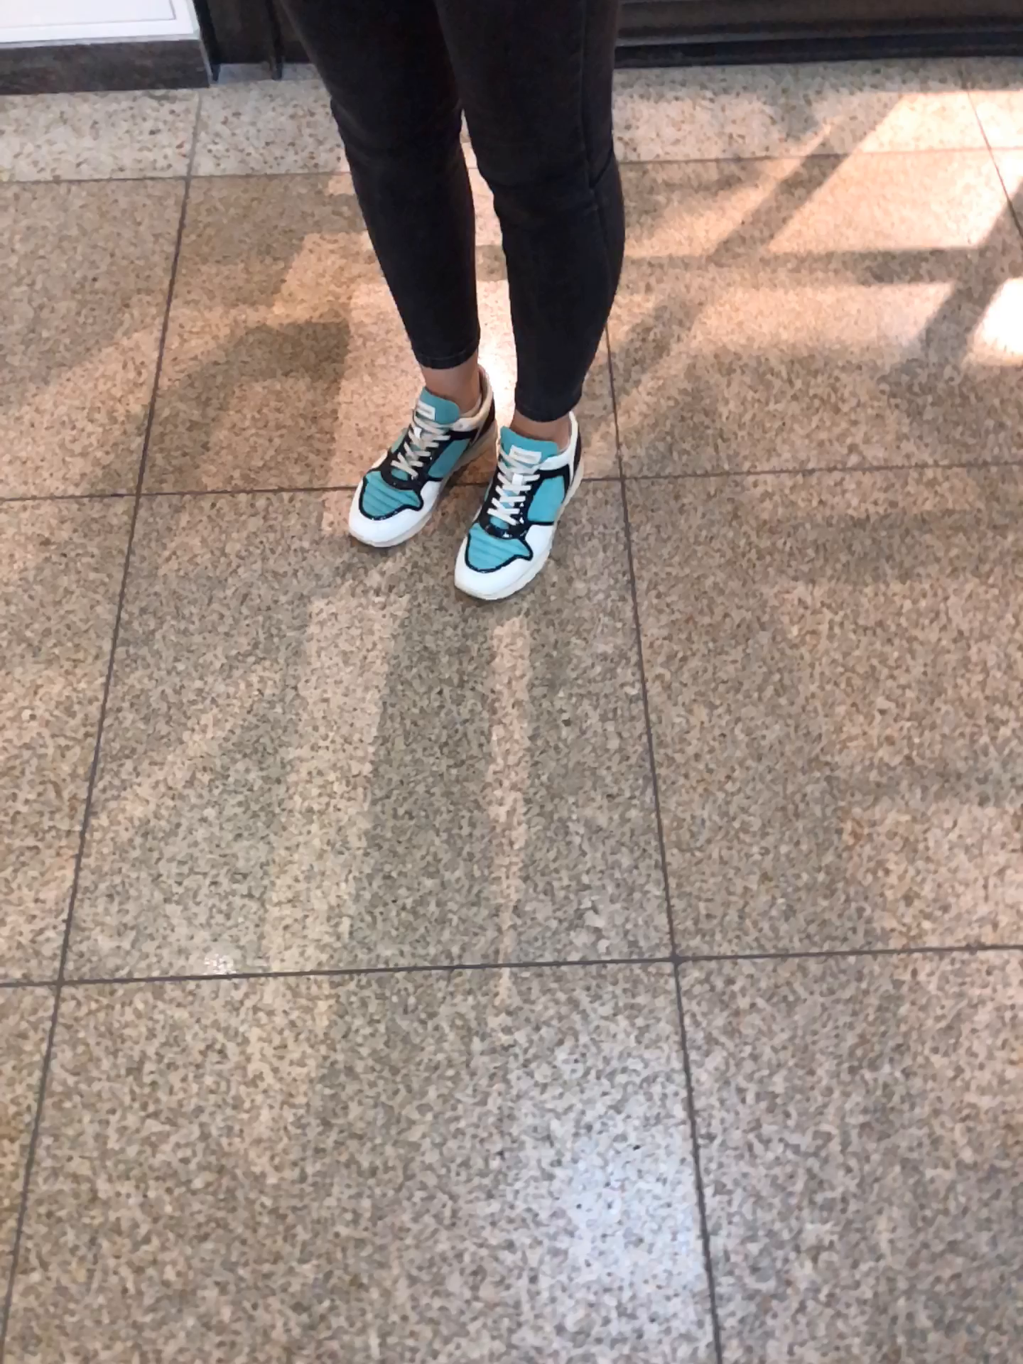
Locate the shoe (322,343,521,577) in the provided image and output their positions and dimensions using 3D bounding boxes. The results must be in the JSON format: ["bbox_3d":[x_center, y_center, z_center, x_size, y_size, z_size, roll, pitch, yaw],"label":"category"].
[{"bbox_3d":[-0.098,-0.263,1.318,0.100,0.120,0.240,30,65,17],"label":"shoe"}]

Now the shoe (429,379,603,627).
[{"bbox_3d":[0.009,-0.205,1.271,0.100,0.120,0.240,21,63,13],"label":"shoe"}]
